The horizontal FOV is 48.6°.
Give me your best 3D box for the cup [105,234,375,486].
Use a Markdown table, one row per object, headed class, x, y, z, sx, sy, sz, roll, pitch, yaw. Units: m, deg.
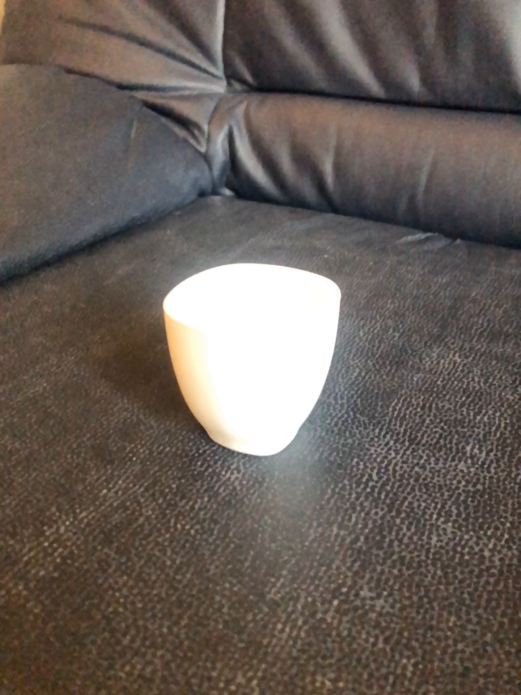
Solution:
| class | x | y | z | sx | sy | sz | roll | pitch | yaw |
| --- | --- | --- | --- | --- | --- | --- | --- | --- | --- |
| cup | -0.005 | -0.003 | 0.279 | 0.080 | 0.063 | 0.101 | 17 | 36 | 28 |
